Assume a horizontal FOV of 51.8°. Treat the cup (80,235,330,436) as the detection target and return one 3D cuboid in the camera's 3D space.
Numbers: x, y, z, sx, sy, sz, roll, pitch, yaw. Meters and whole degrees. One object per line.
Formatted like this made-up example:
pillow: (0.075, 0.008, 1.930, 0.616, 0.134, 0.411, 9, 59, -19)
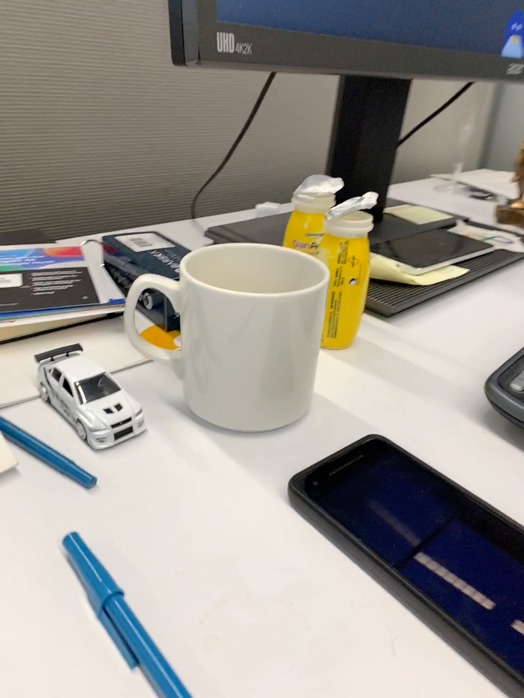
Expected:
cup: (-0.027, -0.011, 0.305, 0.120, 0.080, 0.070, 6, 27, 3)
